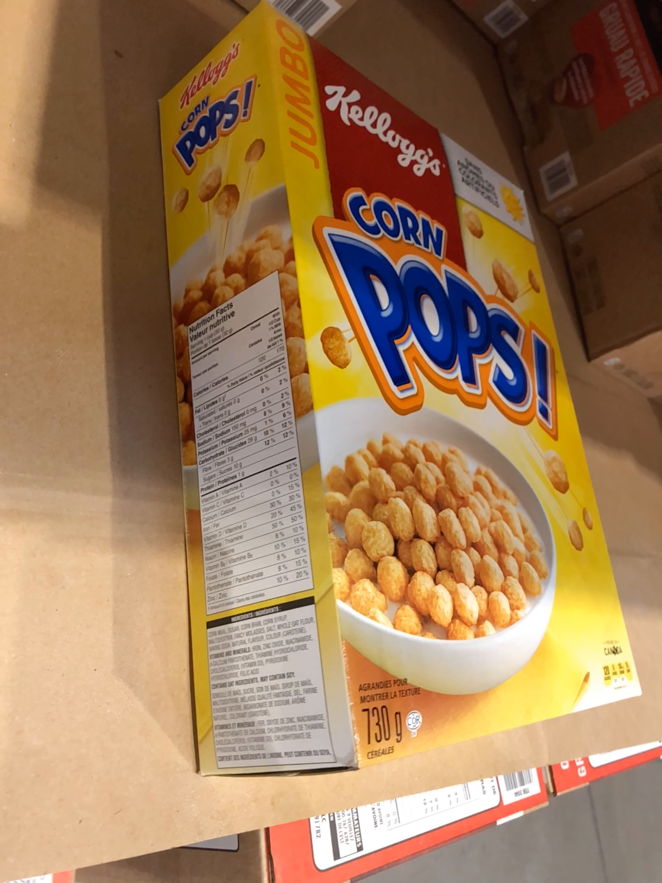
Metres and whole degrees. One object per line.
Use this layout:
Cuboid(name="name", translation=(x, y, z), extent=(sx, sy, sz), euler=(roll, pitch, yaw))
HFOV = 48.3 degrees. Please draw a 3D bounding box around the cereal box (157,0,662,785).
Cuboid(name="cereal box", translation=(0.057, -0.021, 0.407), extent=(0.272, 0.099, 0.340), euler=(12, 63, -44))
